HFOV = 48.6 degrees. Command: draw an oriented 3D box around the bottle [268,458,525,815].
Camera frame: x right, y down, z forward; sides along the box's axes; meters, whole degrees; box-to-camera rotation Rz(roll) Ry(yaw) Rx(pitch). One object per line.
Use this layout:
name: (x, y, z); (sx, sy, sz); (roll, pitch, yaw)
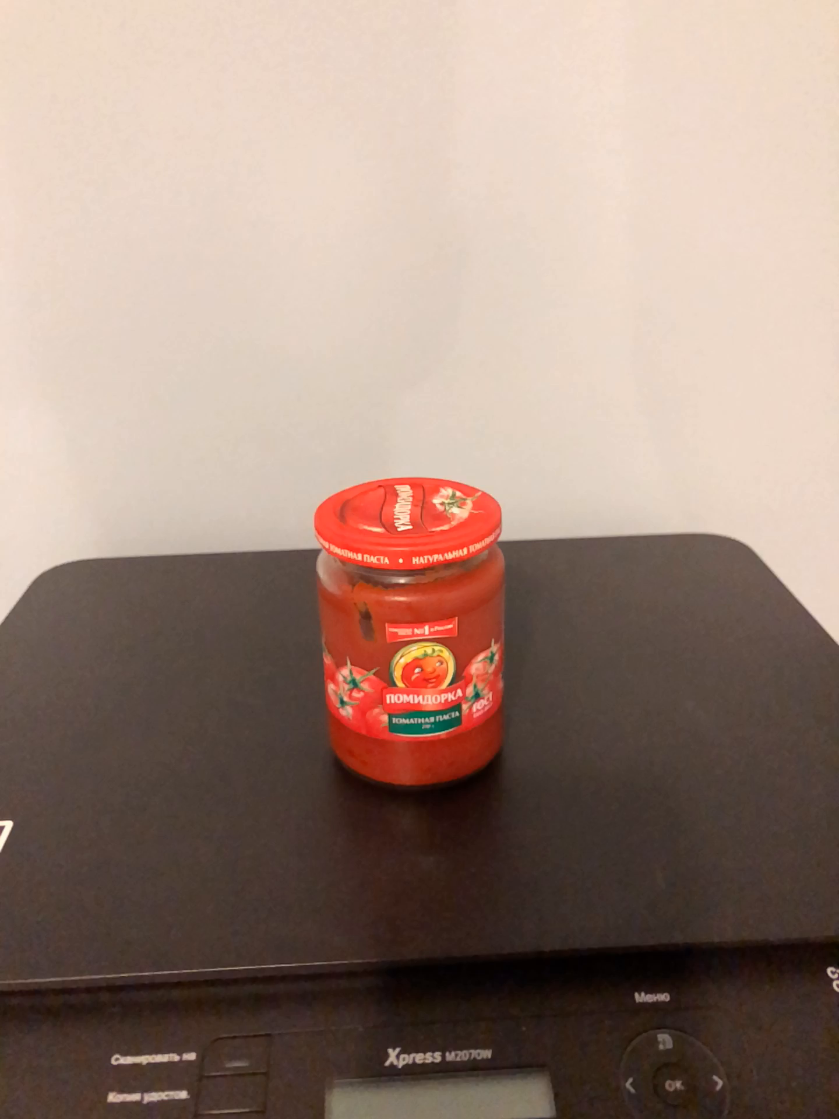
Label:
bottle: (-0.004, 0.027, 0.355); (0.080, 0.109, 0.070); (3, 25, 9)
